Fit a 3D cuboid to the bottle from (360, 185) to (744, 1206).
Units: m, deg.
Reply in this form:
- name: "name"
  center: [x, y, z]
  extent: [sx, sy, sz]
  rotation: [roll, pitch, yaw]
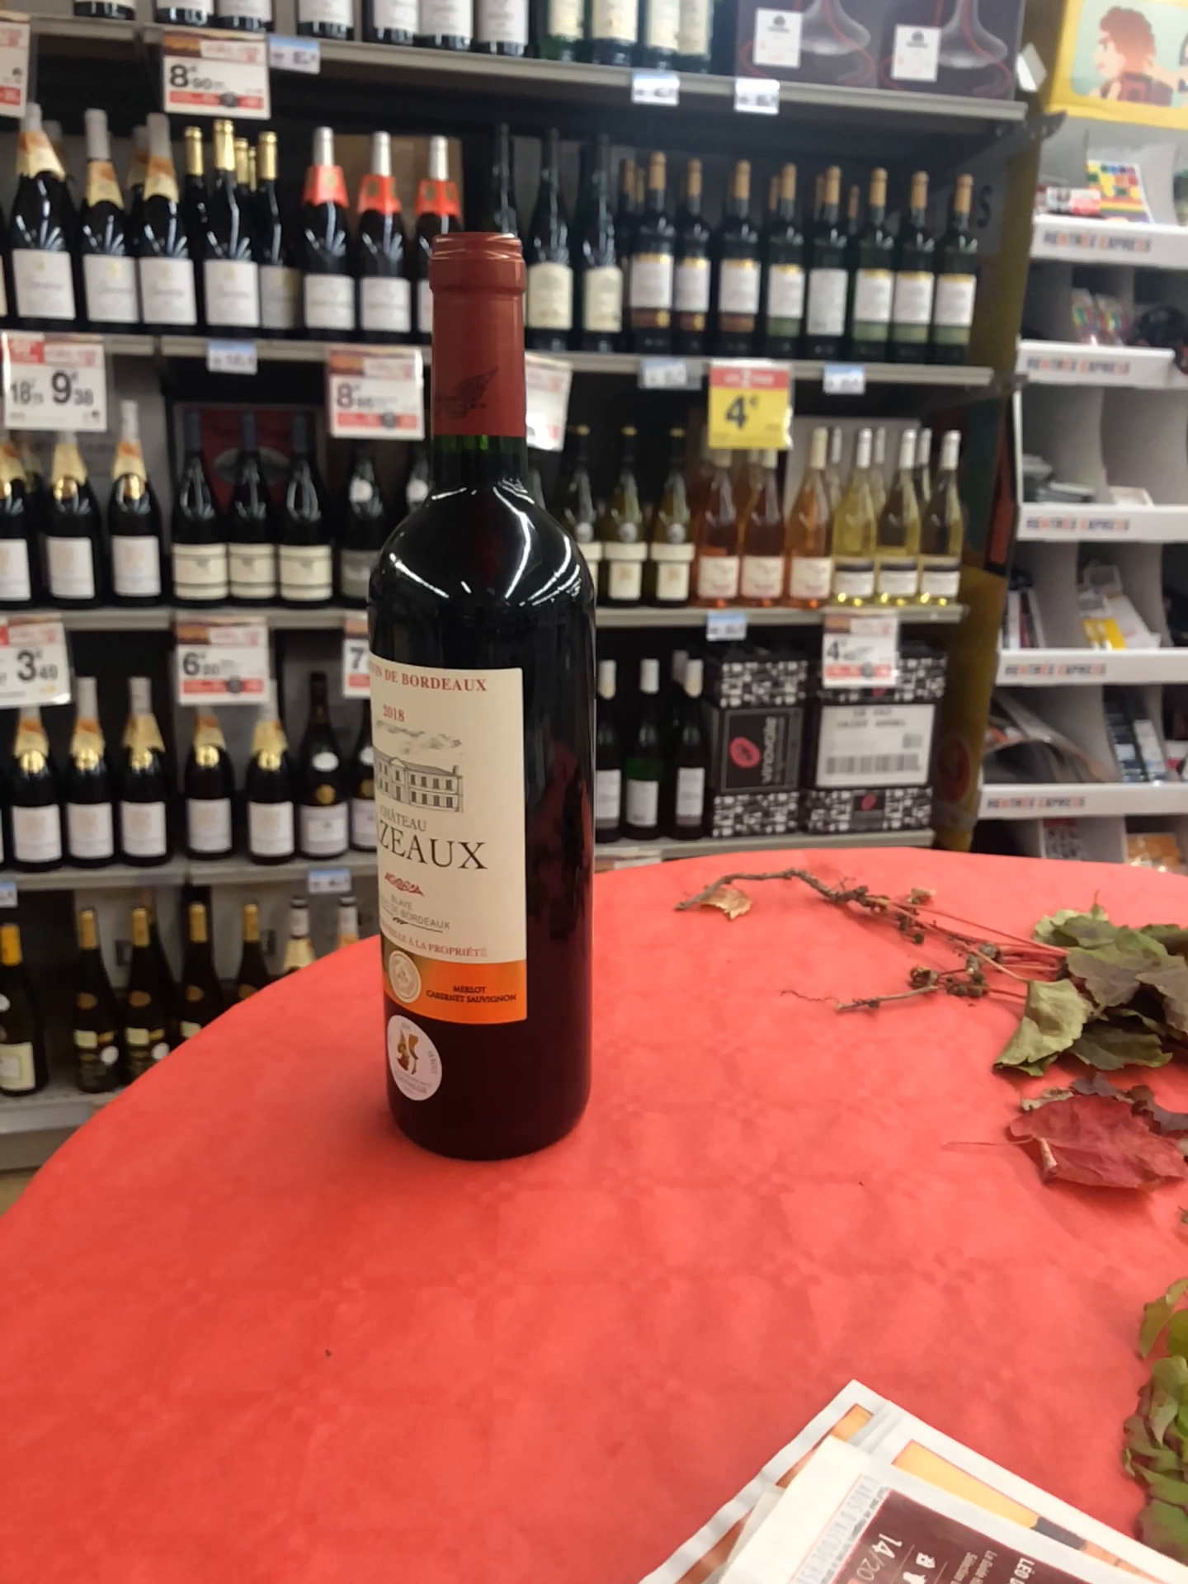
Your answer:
- name: "bottle"
  center: [-0.018, -0.028, 0.429]
  extent: [0.080, 0.299, 0.080]
  rotation: [2, 17, -1]
